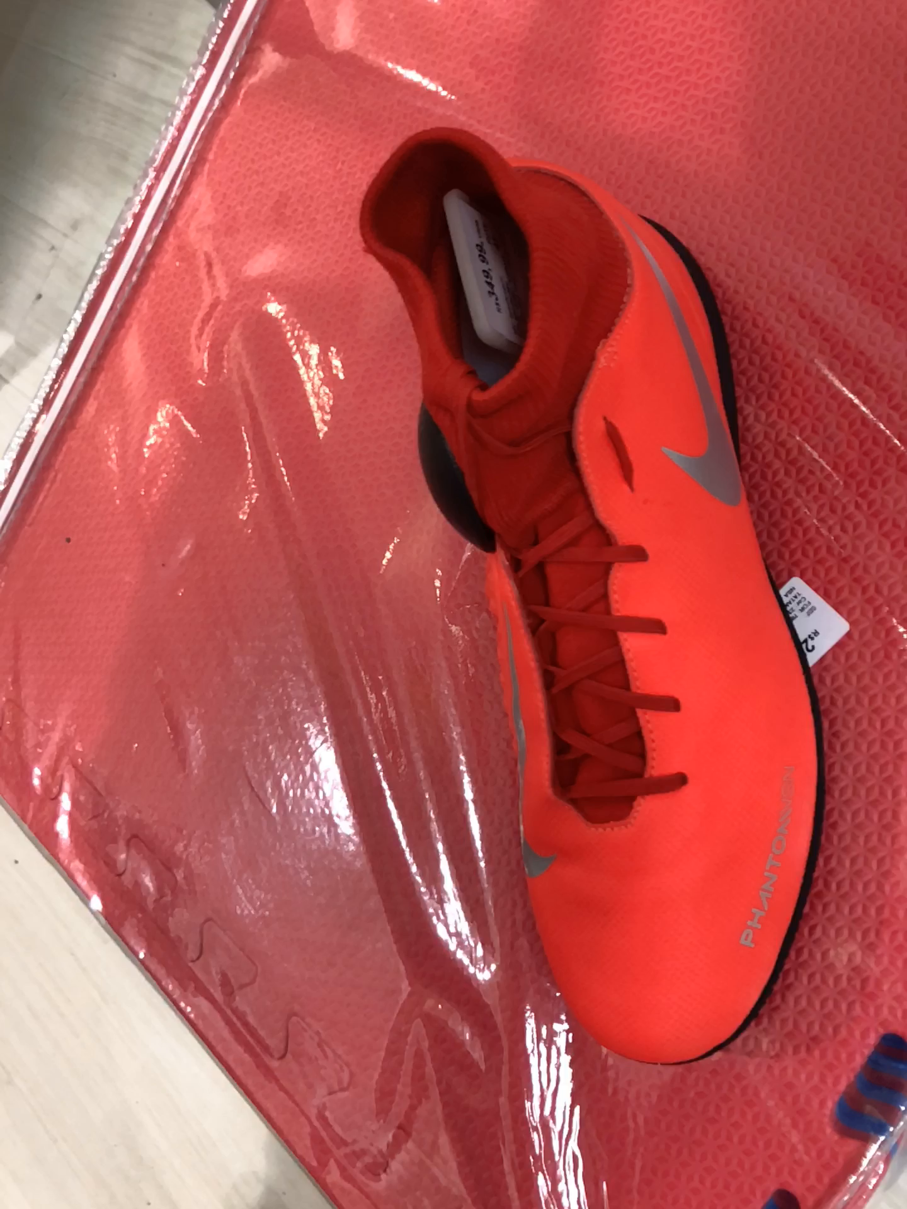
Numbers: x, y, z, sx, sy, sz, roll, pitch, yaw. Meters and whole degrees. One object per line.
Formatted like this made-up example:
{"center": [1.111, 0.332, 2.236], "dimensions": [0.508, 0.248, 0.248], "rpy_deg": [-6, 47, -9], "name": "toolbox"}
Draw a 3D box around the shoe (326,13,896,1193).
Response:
{"center": [0.043, 0.000, 0.276], "dimensions": [0.090, 0.120, 0.250], "rpy_deg": [-13, 73, 27], "name": "shoe"}
